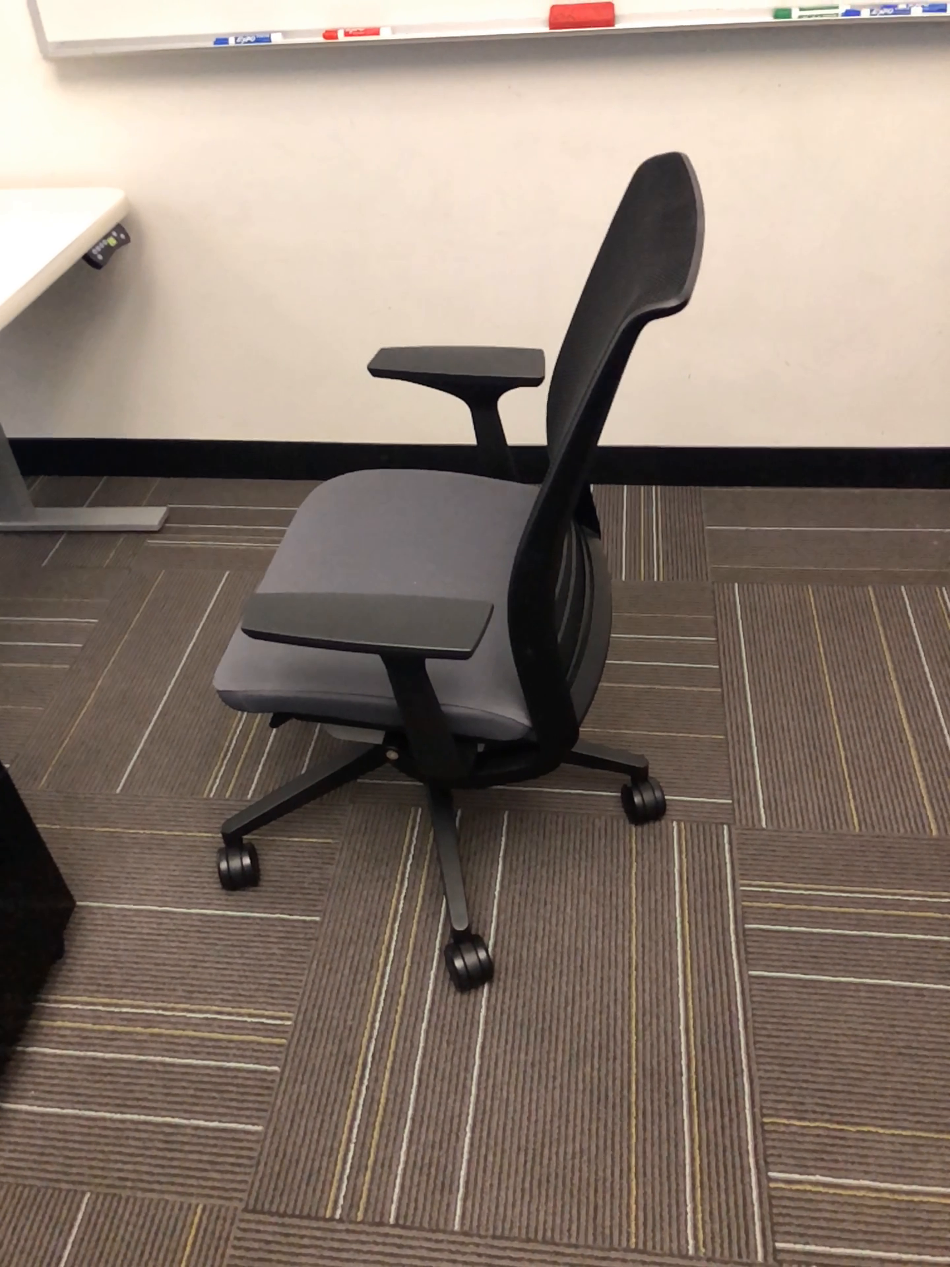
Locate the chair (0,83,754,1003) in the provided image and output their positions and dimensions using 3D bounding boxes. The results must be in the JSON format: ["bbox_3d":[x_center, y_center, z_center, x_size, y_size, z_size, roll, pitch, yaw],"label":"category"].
[{"bbox_3d":[-0.074,-0.113,1.359,0.680,0.905,0.723,0,40,6],"label":"chair"}]
